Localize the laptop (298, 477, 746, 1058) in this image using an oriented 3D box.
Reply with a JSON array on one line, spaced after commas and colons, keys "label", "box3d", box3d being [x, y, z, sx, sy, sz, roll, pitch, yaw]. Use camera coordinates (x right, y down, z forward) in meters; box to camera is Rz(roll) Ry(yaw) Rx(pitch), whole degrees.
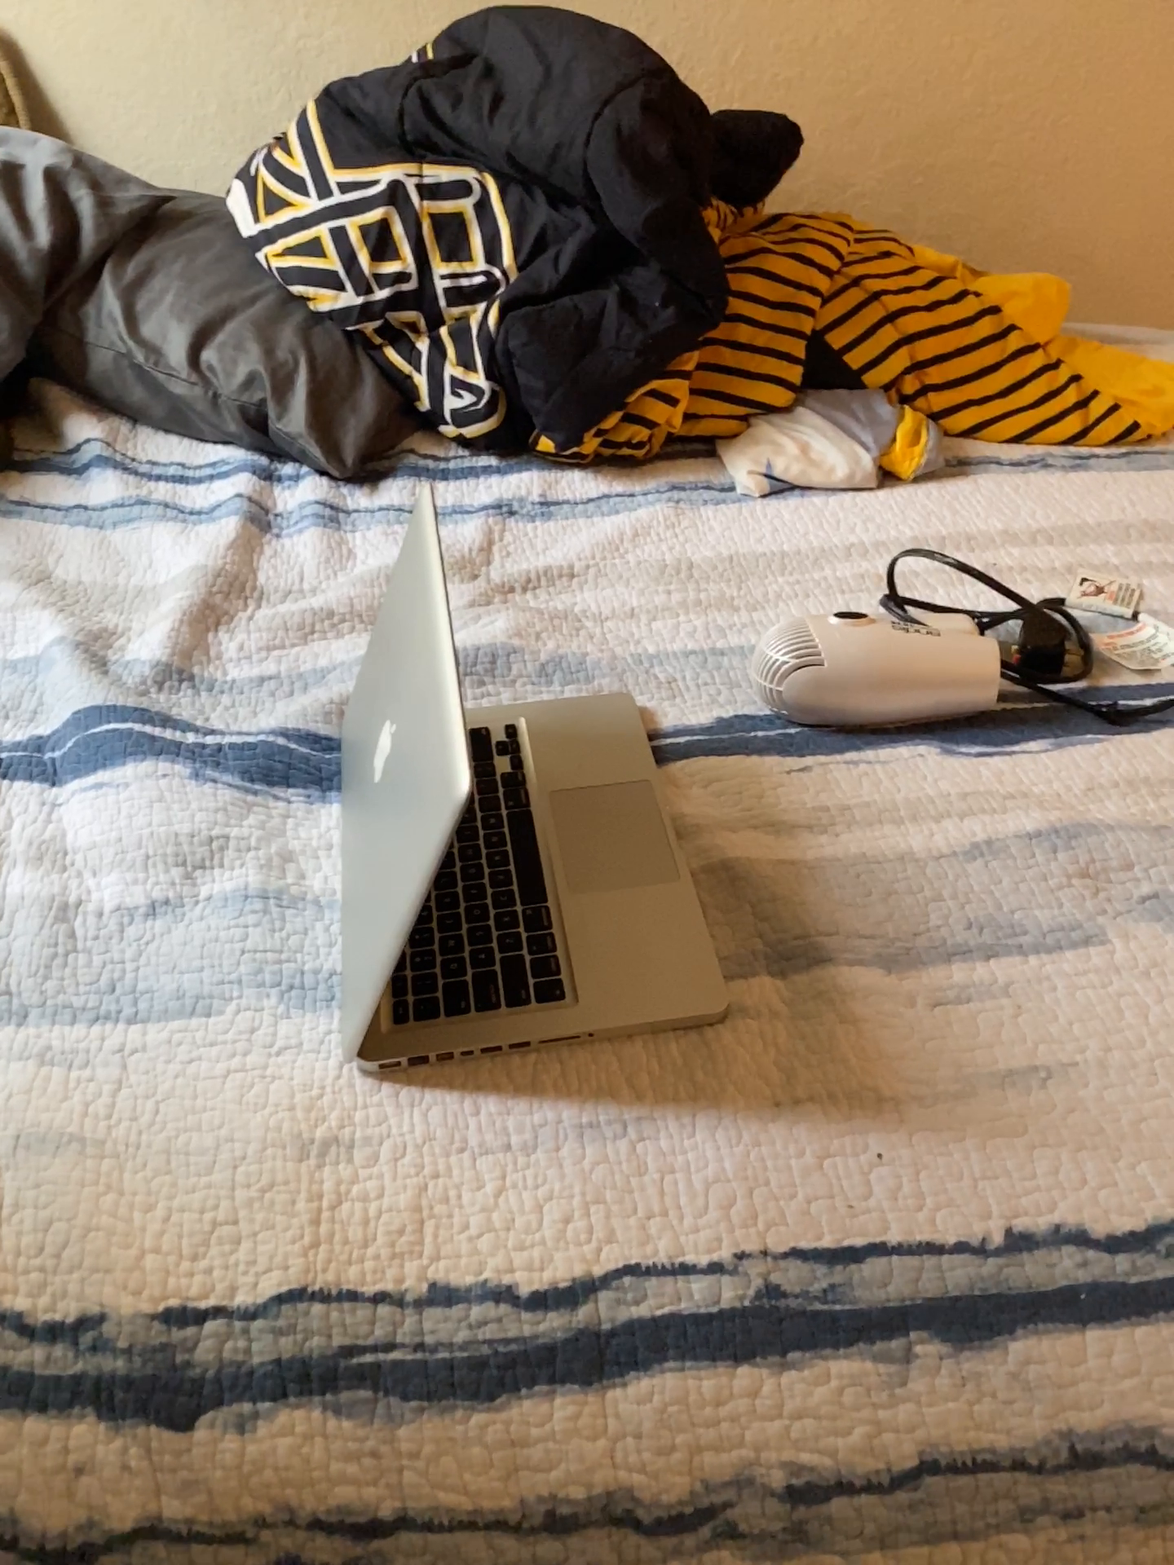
[{"label": "laptop", "box3d": [-0.050, -0.023, 0.744, 0.214, 0.188, 0.302, -6, 42, -5]}]
